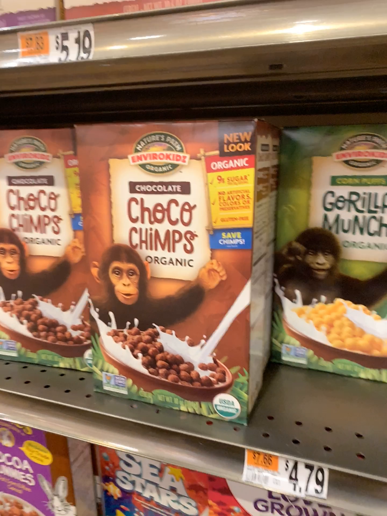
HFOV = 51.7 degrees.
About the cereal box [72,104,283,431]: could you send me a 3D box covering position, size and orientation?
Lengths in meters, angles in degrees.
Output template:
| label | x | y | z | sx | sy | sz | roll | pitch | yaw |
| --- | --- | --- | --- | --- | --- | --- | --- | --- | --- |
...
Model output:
| label | x | y | z | sx | sy | sz | roll | pitch | yaw |
| --- | --- | --- | --- | --- | --- | --- | --- | --- | --- |
| cereal box | -0.014 | 0.006 | 0.373 | 0.170 | 0.269 | 0.060 | 5 | 15 | 19 |
